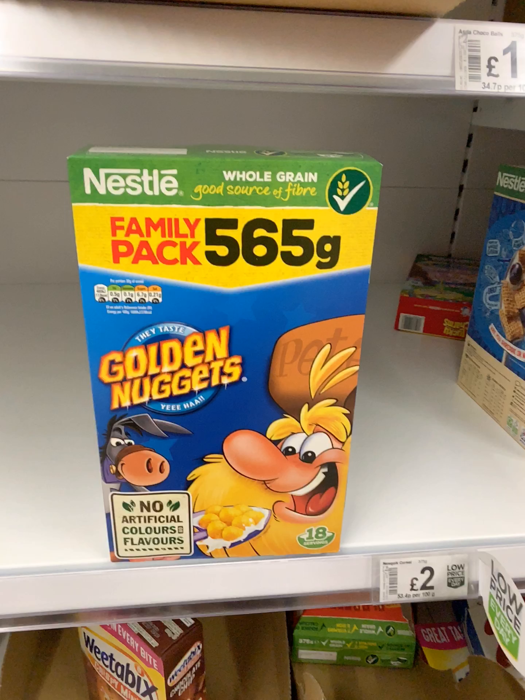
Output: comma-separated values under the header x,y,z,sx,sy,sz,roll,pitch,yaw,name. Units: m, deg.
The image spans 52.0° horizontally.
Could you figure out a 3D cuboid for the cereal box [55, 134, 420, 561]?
x,y,z,sx,sy,sz,roll,pitch,yaw,name
-0.020,0.006,0.412,0.210,0.307,0.091,0,24,-5,cereal box
